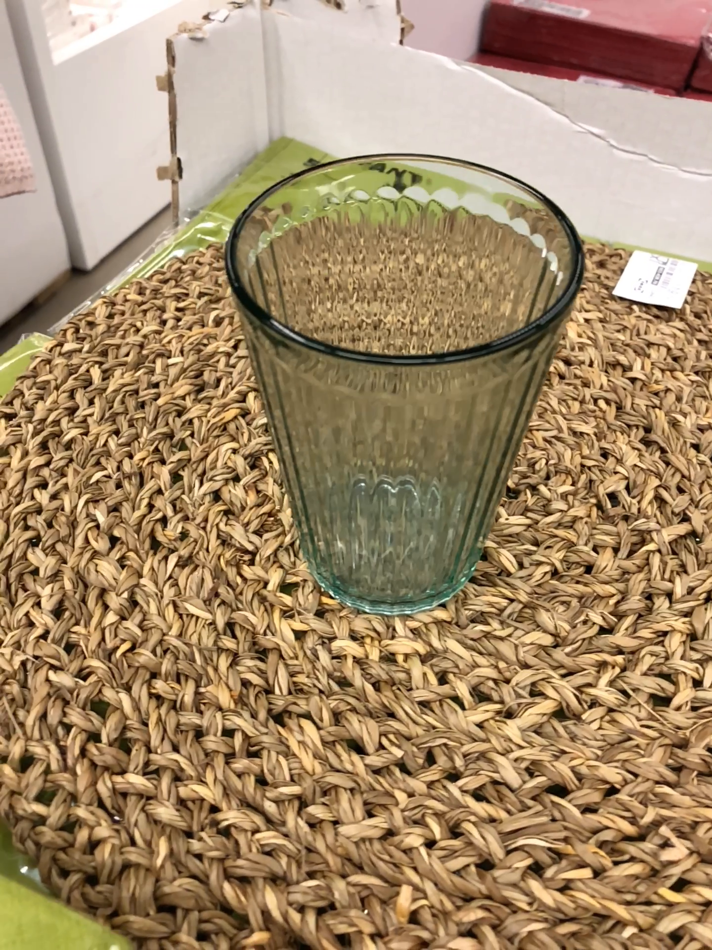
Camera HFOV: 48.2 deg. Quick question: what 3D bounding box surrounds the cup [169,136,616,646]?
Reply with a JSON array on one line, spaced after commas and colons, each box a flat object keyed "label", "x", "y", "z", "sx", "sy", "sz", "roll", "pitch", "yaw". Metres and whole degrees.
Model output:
[{"label": "cup", "x": 0.007, "y": -0.020, "z": 0.206, "sx": 0.080, "sy": 0.100, "sz": 0.080, "roll": 1, "pitch": 46, "yaw": -1}]
